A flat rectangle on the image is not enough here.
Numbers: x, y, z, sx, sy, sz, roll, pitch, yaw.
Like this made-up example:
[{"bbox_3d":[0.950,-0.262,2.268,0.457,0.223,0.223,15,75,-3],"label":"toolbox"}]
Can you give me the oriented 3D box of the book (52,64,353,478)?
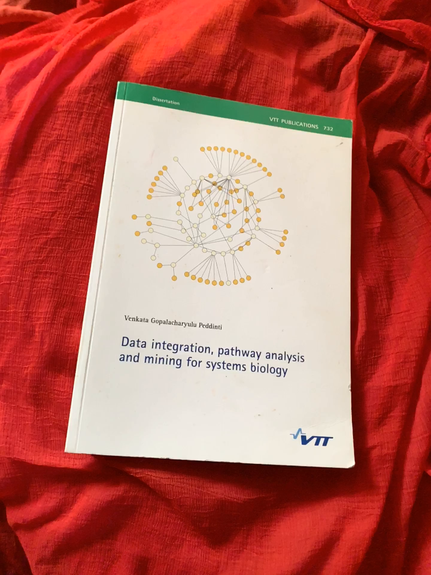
[{"bbox_3d":[0.004,-0.020,0.308,0.180,0.020,0.270,6,76,-6],"label":"book"}]
